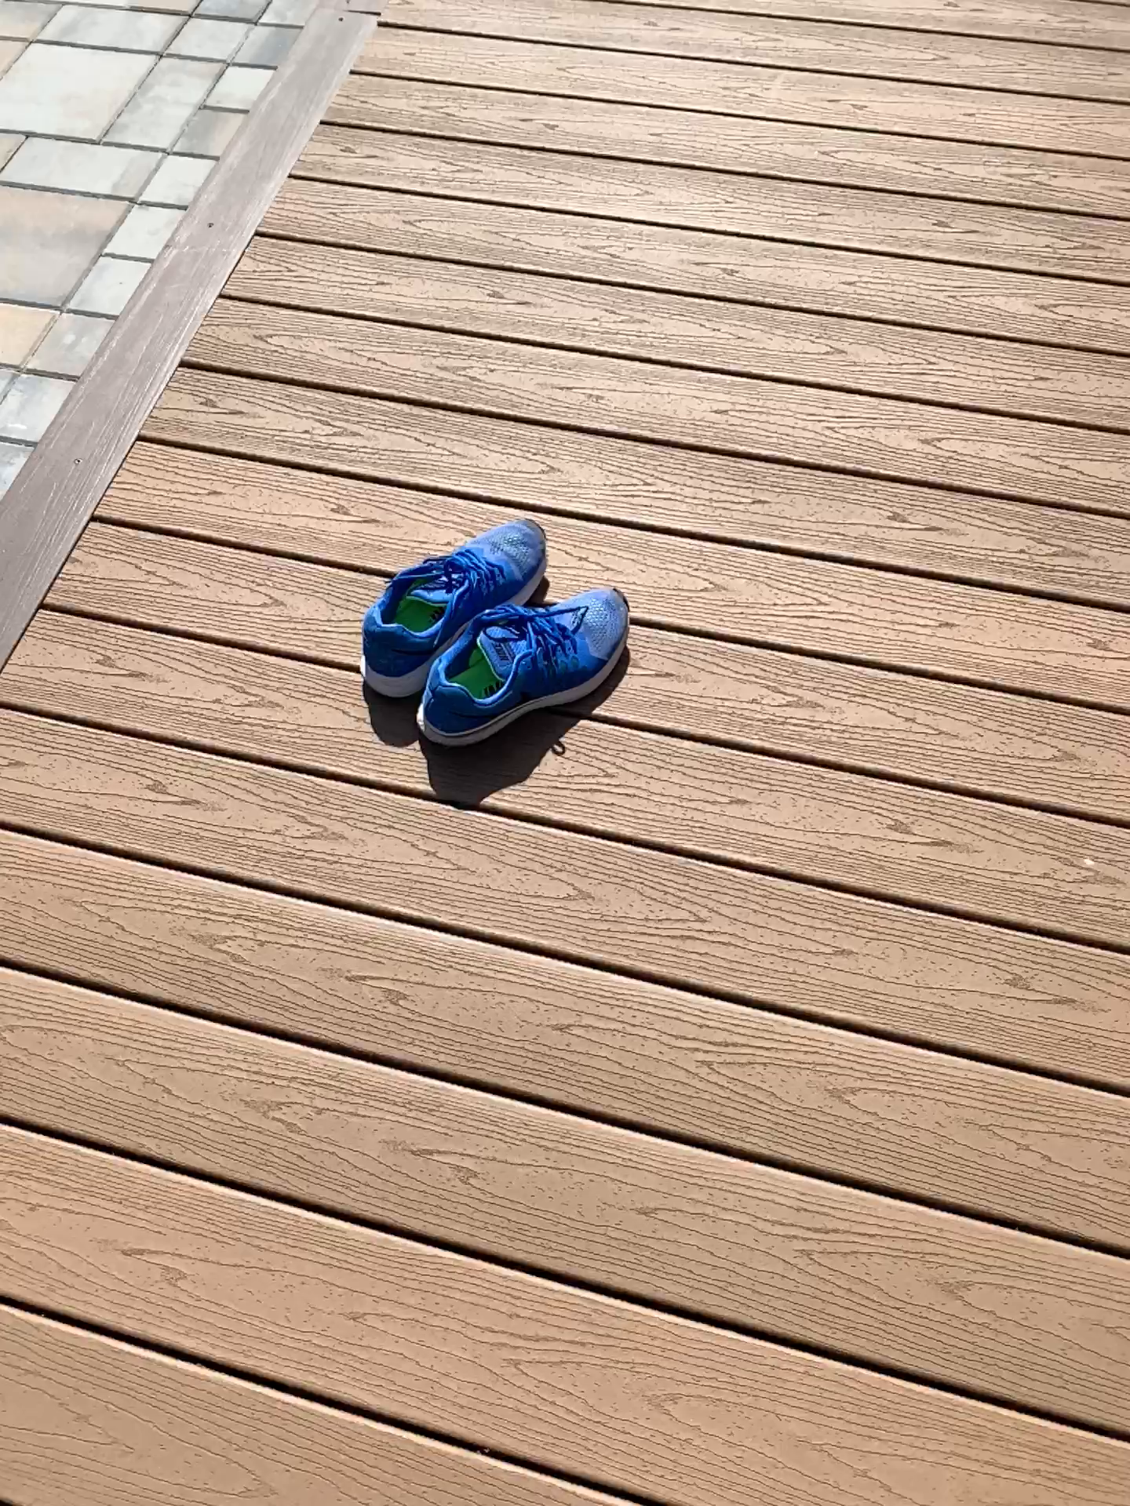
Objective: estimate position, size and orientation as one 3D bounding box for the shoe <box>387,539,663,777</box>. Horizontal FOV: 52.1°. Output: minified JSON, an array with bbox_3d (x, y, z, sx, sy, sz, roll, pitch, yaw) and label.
[{"bbox_3d":[-0.042,-0.112,1.341,0.290,0.105,0.120,-30,62,-13],"label":"shoe"}]

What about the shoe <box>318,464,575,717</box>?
[{"bbox_3d":[-0.135,-0.199,1.391,0.120,0.103,0.297,38,69,22],"label":"shoe"}]
